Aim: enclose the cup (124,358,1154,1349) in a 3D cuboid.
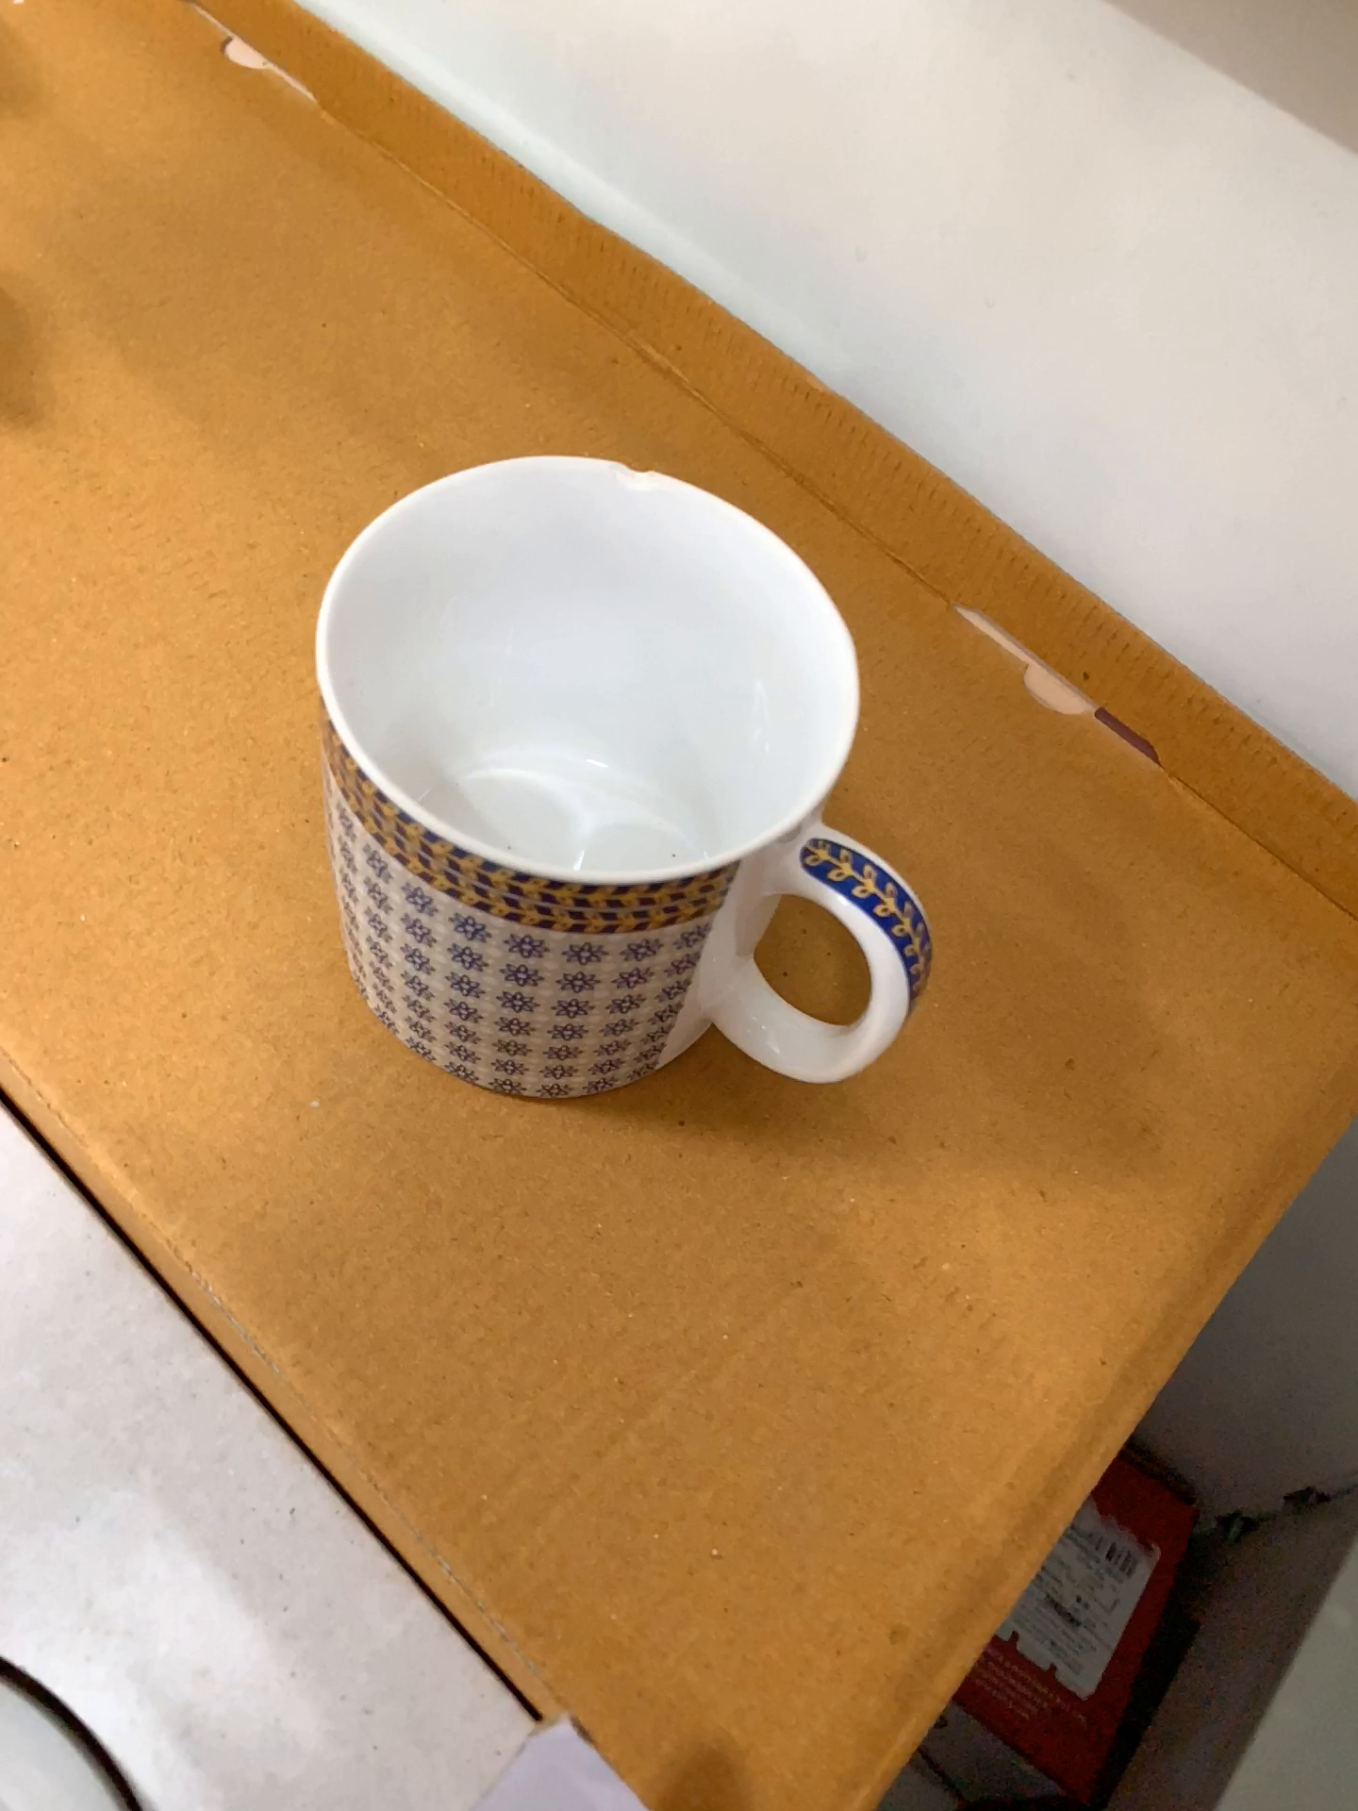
[{"bbox_3d":[-0.007,-0.009,0.211,0.110,0.070,0.080,34,56,10],"label":"cup"}]
